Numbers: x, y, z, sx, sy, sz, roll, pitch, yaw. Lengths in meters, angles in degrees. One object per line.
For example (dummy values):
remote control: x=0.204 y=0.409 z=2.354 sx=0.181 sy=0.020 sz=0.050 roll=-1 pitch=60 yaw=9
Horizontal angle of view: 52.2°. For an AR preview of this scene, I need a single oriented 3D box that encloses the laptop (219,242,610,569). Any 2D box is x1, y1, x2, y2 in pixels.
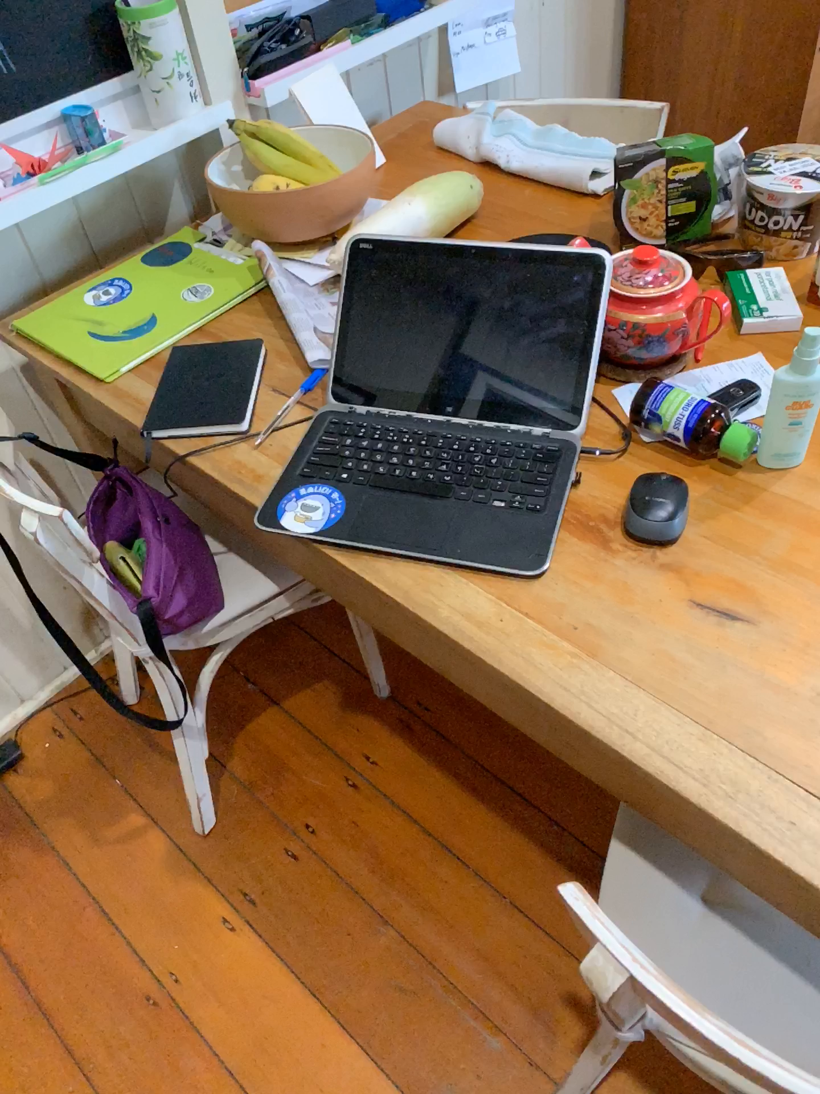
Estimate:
laptop: x=0.028 y=-0.170 z=0.894 sx=0.303 sy=0.139 sz=0.340 roll=9 pitch=49 yaw=16
